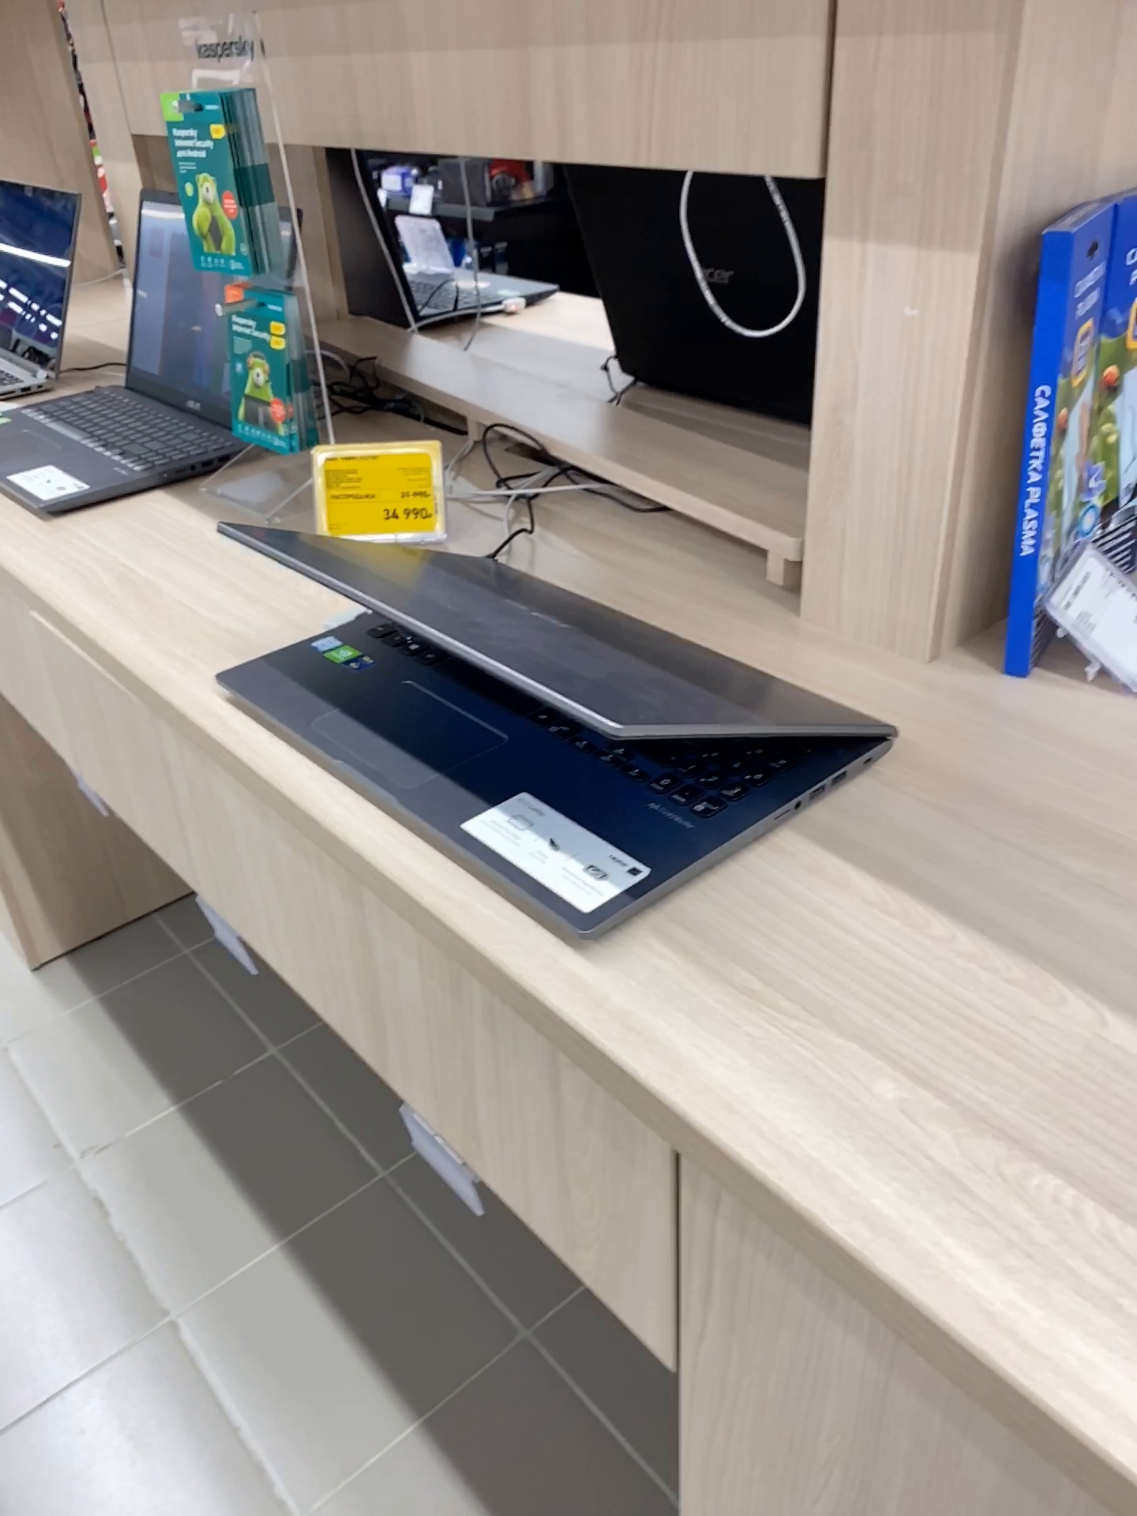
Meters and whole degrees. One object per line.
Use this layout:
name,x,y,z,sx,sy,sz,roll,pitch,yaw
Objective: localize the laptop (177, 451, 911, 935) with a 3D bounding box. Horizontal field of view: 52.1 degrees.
laptop,-0.027,-0.070,0.670,0.236,0.088,0.354,-27,39,-34
